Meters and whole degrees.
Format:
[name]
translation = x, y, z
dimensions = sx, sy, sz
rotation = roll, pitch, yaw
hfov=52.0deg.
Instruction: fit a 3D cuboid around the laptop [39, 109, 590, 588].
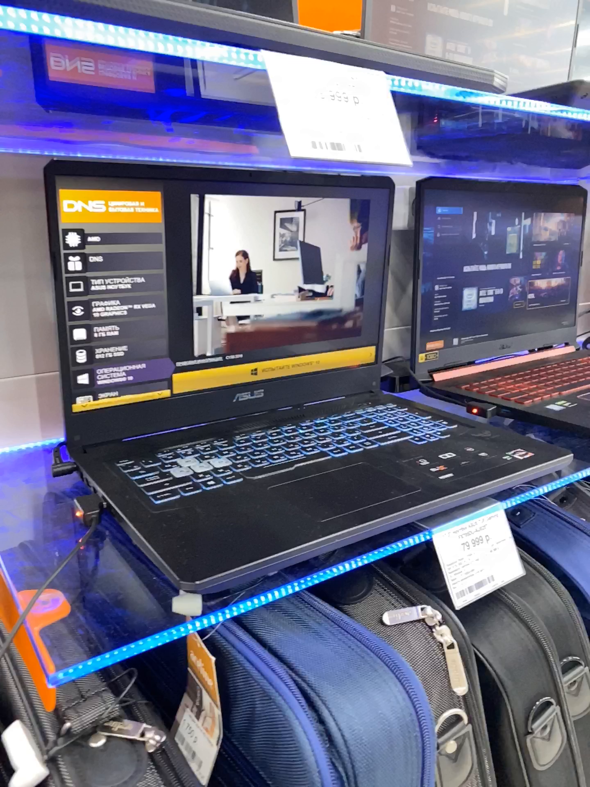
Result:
[laptop]
translation = 0.023, -0.068, 0.546
dimensions = 0.397, 0.265, 0.269
rotation = -9, 17, -33
